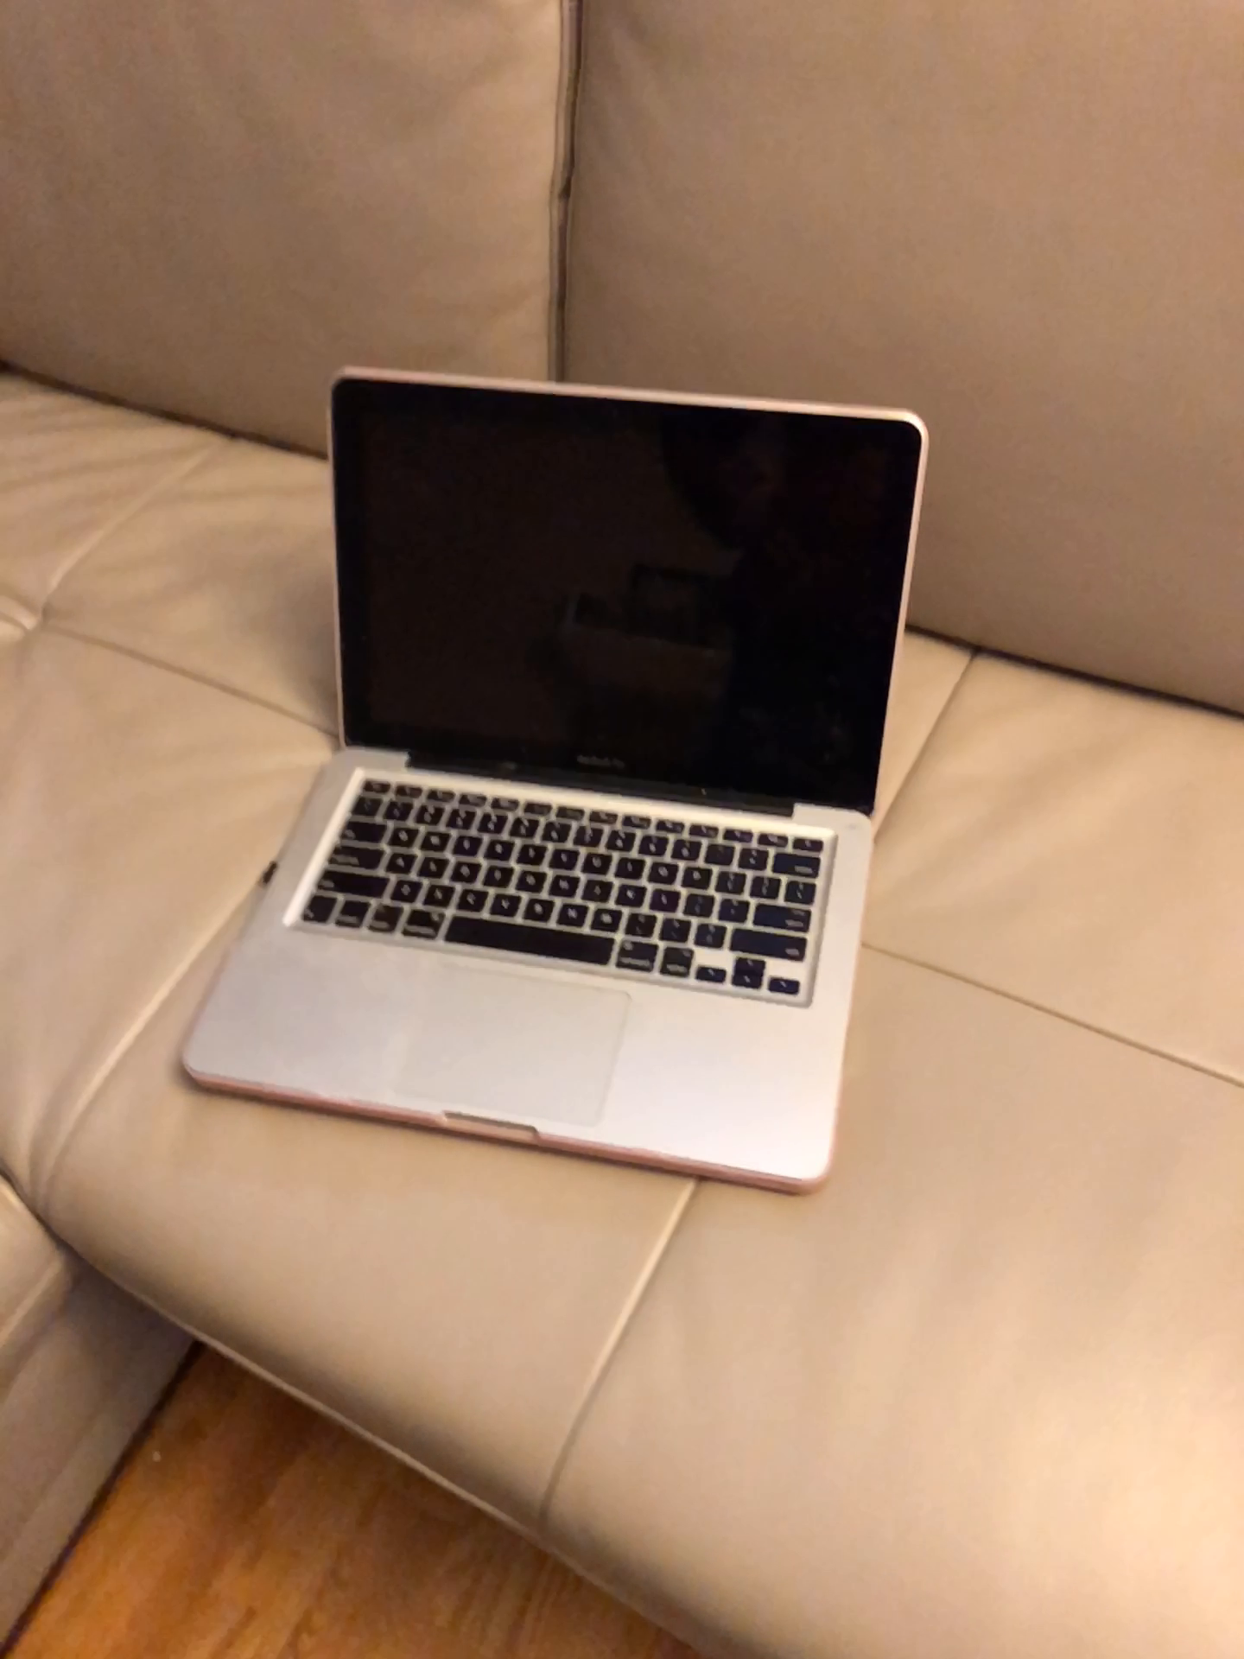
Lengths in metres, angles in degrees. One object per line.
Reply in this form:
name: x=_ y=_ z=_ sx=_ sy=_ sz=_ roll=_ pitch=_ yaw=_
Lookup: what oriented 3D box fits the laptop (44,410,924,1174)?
laptop: x=-0.032 y=-0.035 z=0.672 sx=0.308 sy=0.166 sz=0.324 roll=7 pitch=53 yaw=12
